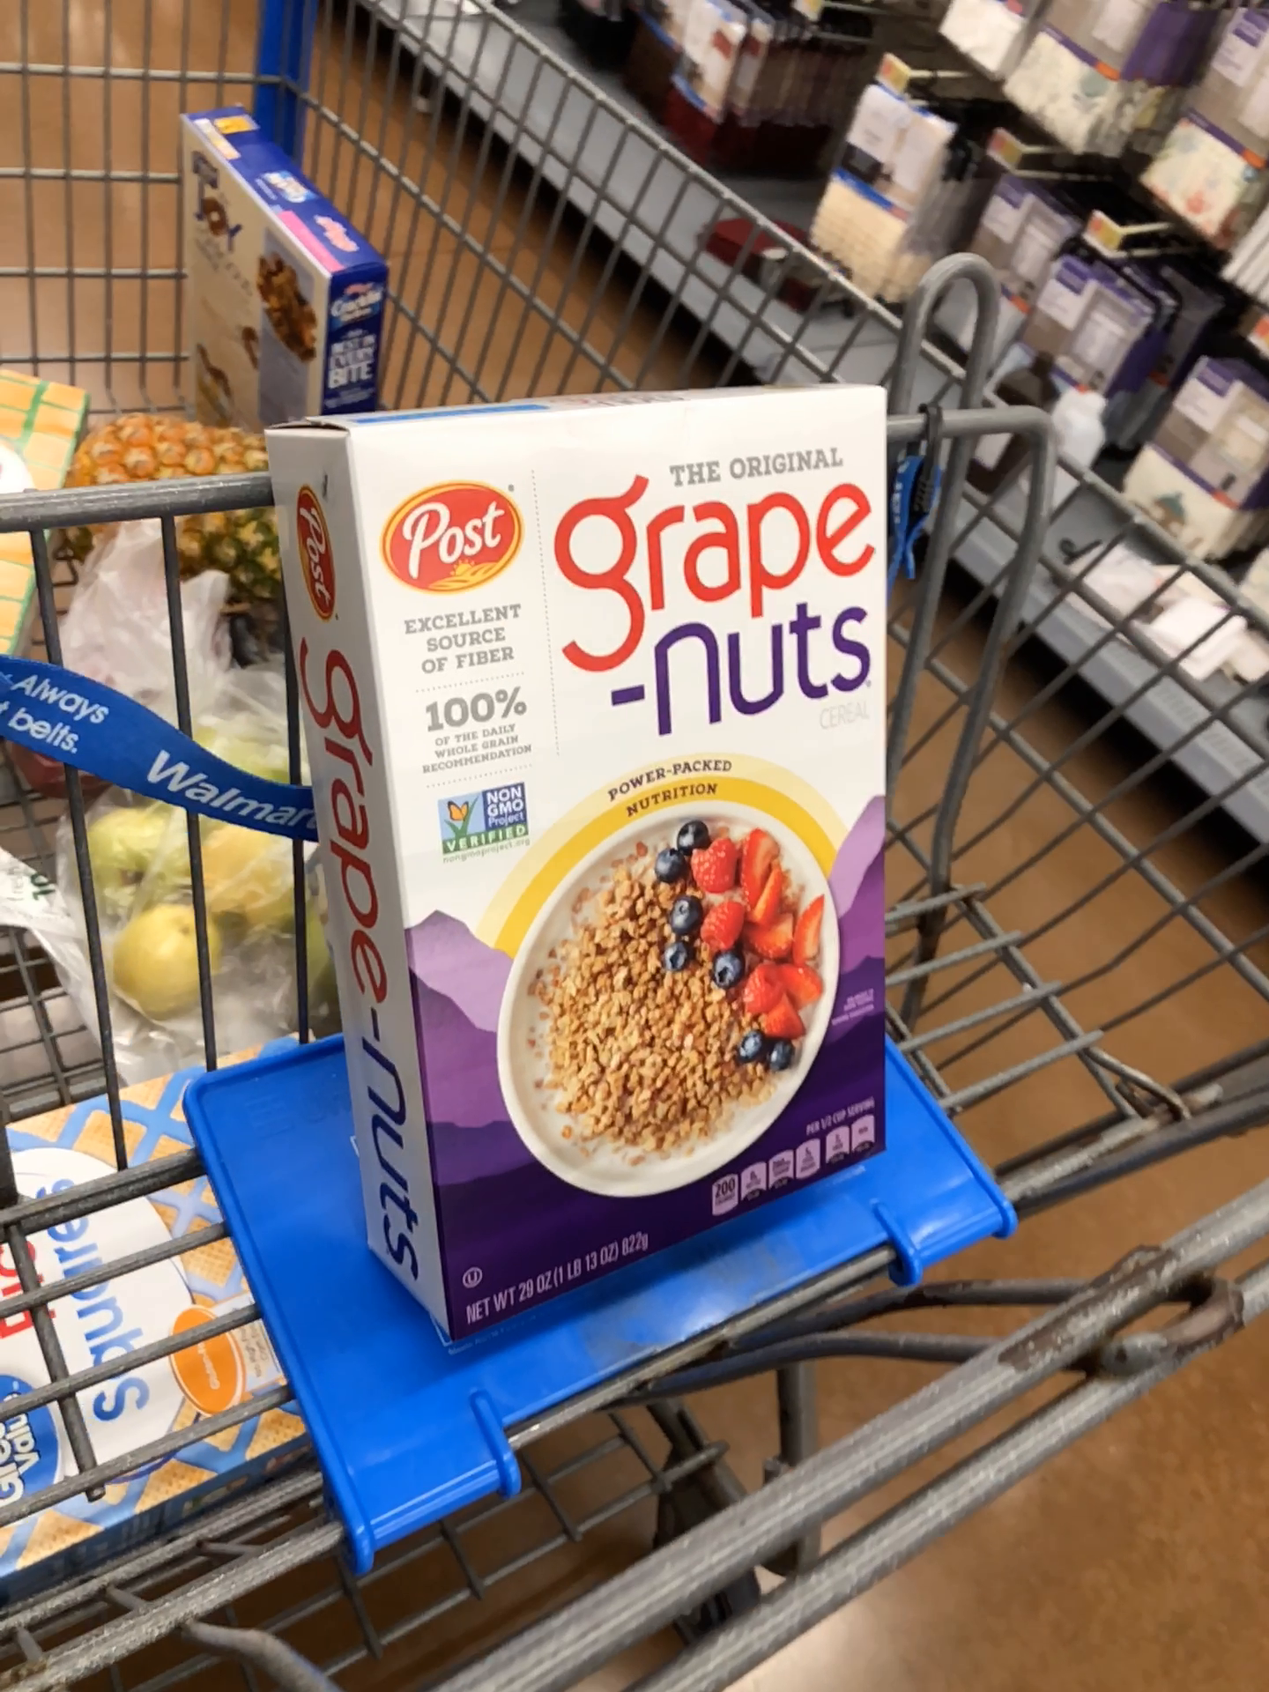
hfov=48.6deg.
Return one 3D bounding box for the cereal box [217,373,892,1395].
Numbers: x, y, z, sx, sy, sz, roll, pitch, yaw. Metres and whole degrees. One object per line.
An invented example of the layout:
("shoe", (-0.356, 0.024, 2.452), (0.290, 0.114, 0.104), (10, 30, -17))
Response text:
("cereal box", (-0.008, 0.003, 0.397), (0.170, 0.250, 0.050), (-14, 21, -31))
